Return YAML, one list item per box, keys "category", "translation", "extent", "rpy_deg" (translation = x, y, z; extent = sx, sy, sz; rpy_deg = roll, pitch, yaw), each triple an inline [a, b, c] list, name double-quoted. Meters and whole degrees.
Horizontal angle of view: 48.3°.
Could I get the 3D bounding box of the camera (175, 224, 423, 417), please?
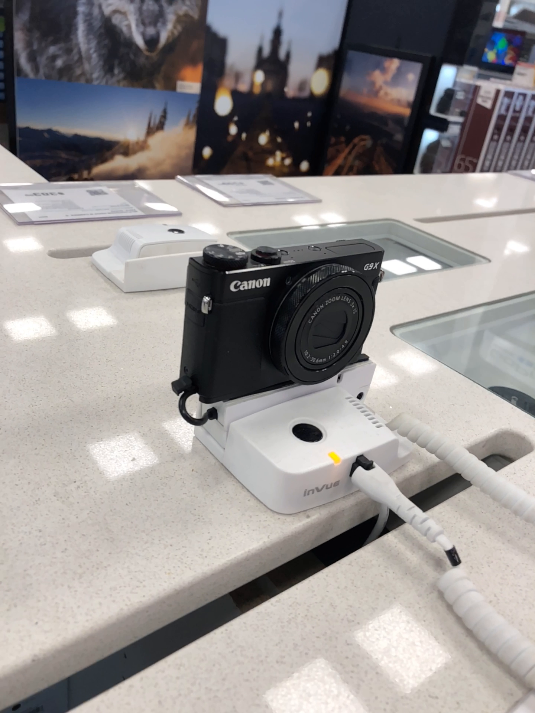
- category: "camera"
  translation: [0.015, -0.019, 0.251]
  extent: [0.100, 0.060, 0.030]
  rpy_deg: [-14, 36, -37]
